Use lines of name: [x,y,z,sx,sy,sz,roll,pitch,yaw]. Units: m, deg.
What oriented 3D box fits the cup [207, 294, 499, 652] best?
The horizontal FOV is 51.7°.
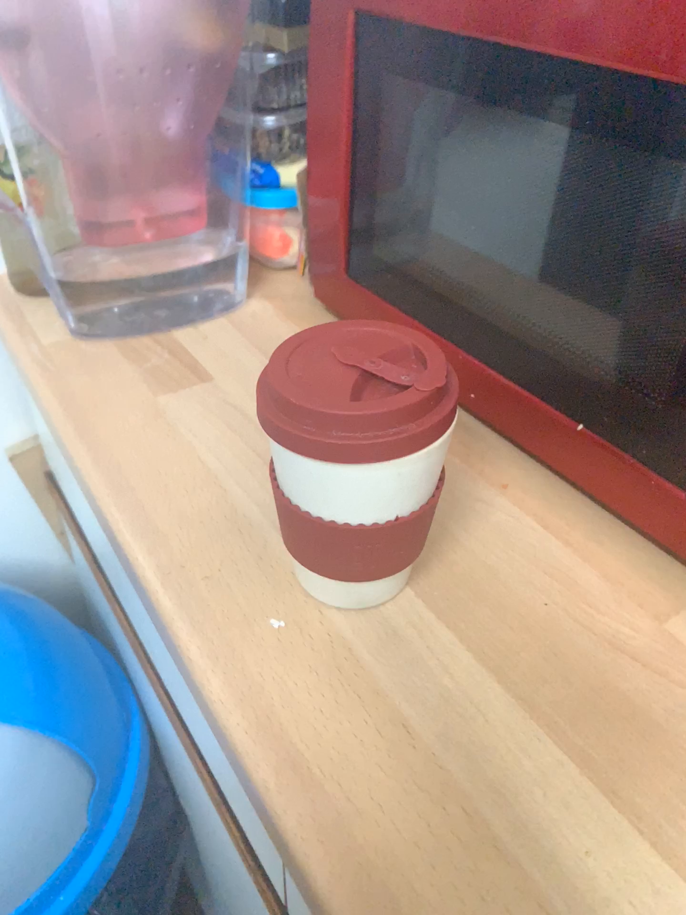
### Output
cup: [0.002,0.004,0.330,0.086,0.115,0.088,1,39,-1]
